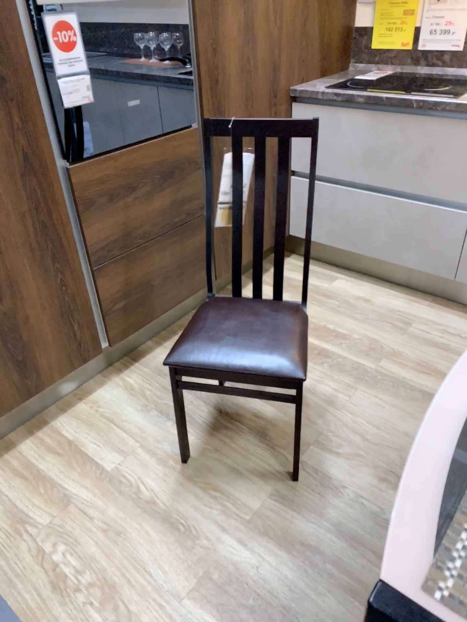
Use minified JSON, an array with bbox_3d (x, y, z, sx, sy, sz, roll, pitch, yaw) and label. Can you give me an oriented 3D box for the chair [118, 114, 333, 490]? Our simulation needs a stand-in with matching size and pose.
[{"bbox_3d":[0.041,-0.016,1.476,0.430,1.014,0.523,5,35,12],"label":"chair"}]
